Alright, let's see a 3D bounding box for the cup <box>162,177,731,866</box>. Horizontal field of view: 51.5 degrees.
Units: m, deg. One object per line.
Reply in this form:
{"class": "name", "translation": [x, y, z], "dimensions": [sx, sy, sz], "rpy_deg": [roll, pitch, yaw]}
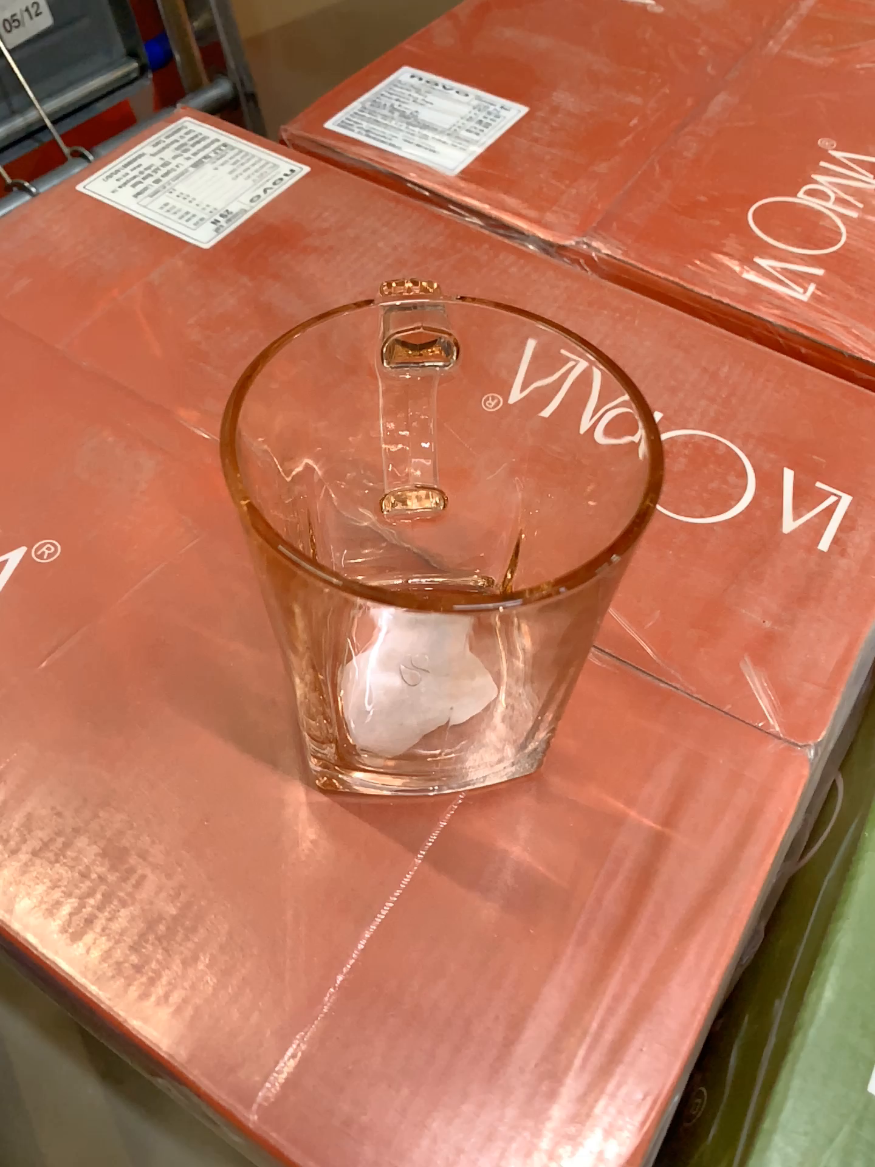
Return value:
{"class": "cup", "translation": [-0.006, -0.009, 0.199], "dimensions": [0.080, 0.110, 0.100], "rpy_deg": [-4, 55, -6]}
